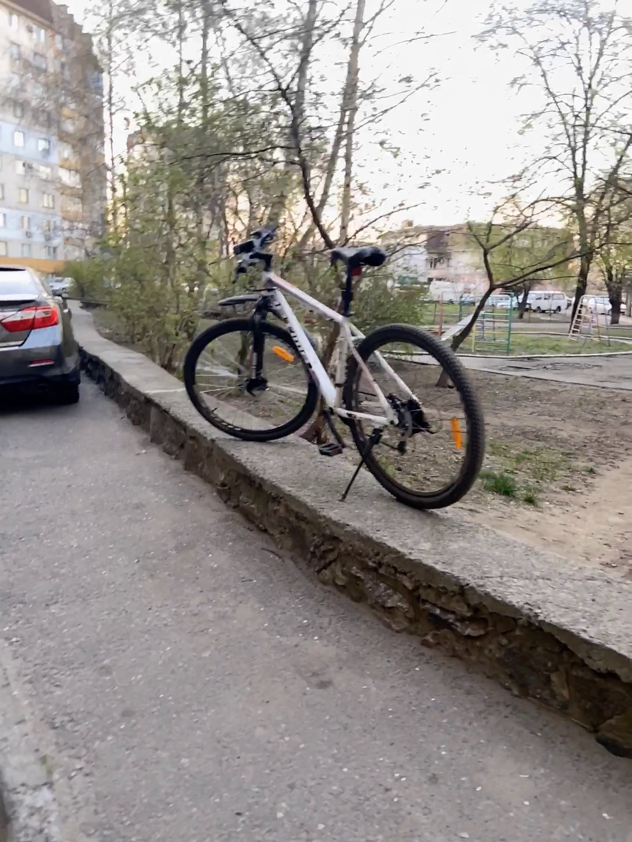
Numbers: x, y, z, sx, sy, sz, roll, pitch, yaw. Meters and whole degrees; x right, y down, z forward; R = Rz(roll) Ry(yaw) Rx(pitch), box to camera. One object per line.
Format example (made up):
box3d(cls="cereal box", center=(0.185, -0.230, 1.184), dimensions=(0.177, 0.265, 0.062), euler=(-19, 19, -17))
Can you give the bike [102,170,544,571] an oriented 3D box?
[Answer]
box3d(cls="bike", center=(-0.124, -0.239, 2.667), dimensions=(0.679, 1.148, 1.750), euler=(-9, 13, -43))
